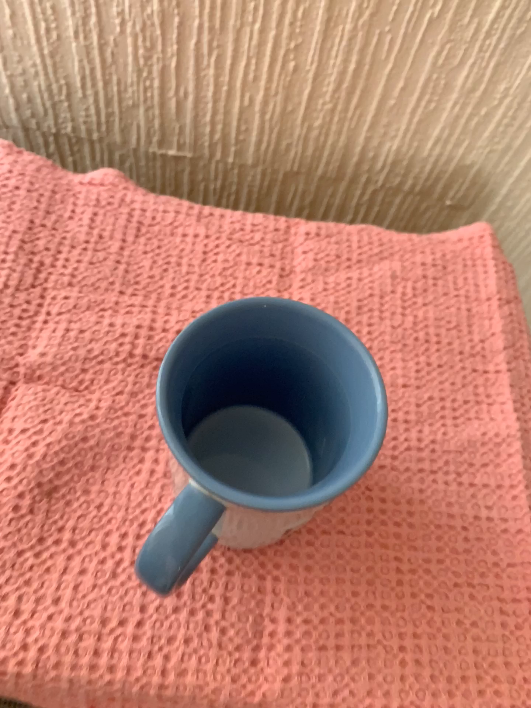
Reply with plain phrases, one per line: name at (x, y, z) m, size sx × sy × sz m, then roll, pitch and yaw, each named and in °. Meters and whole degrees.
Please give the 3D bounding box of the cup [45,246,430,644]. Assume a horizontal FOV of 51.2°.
cup at (-0.010, 0.042, 0.237) m, size 0.090 × 0.099 × 0.111 m, roll 32°, pitch 60°, yaw 9°
